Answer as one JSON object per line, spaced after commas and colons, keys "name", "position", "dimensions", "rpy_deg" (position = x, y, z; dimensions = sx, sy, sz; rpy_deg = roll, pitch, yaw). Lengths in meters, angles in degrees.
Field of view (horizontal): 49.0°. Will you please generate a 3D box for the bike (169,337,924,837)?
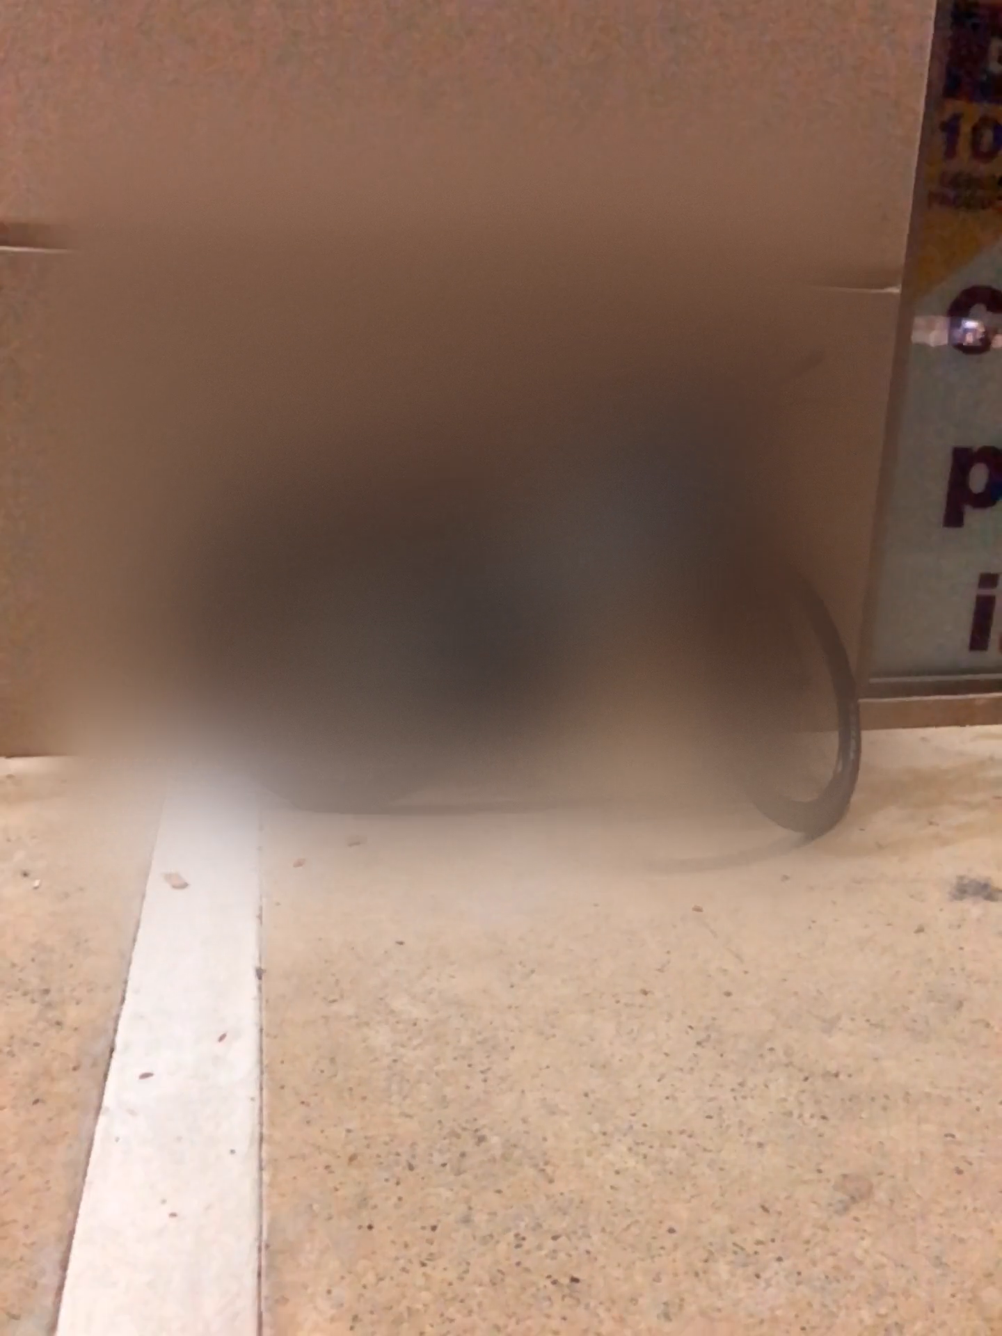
{"name": "bike", "position": [0.112, -0.245, 2.716], "dimensions": [1.603, 1.063, 0.589], "rpy_deg": [-1, 16, -9]}
